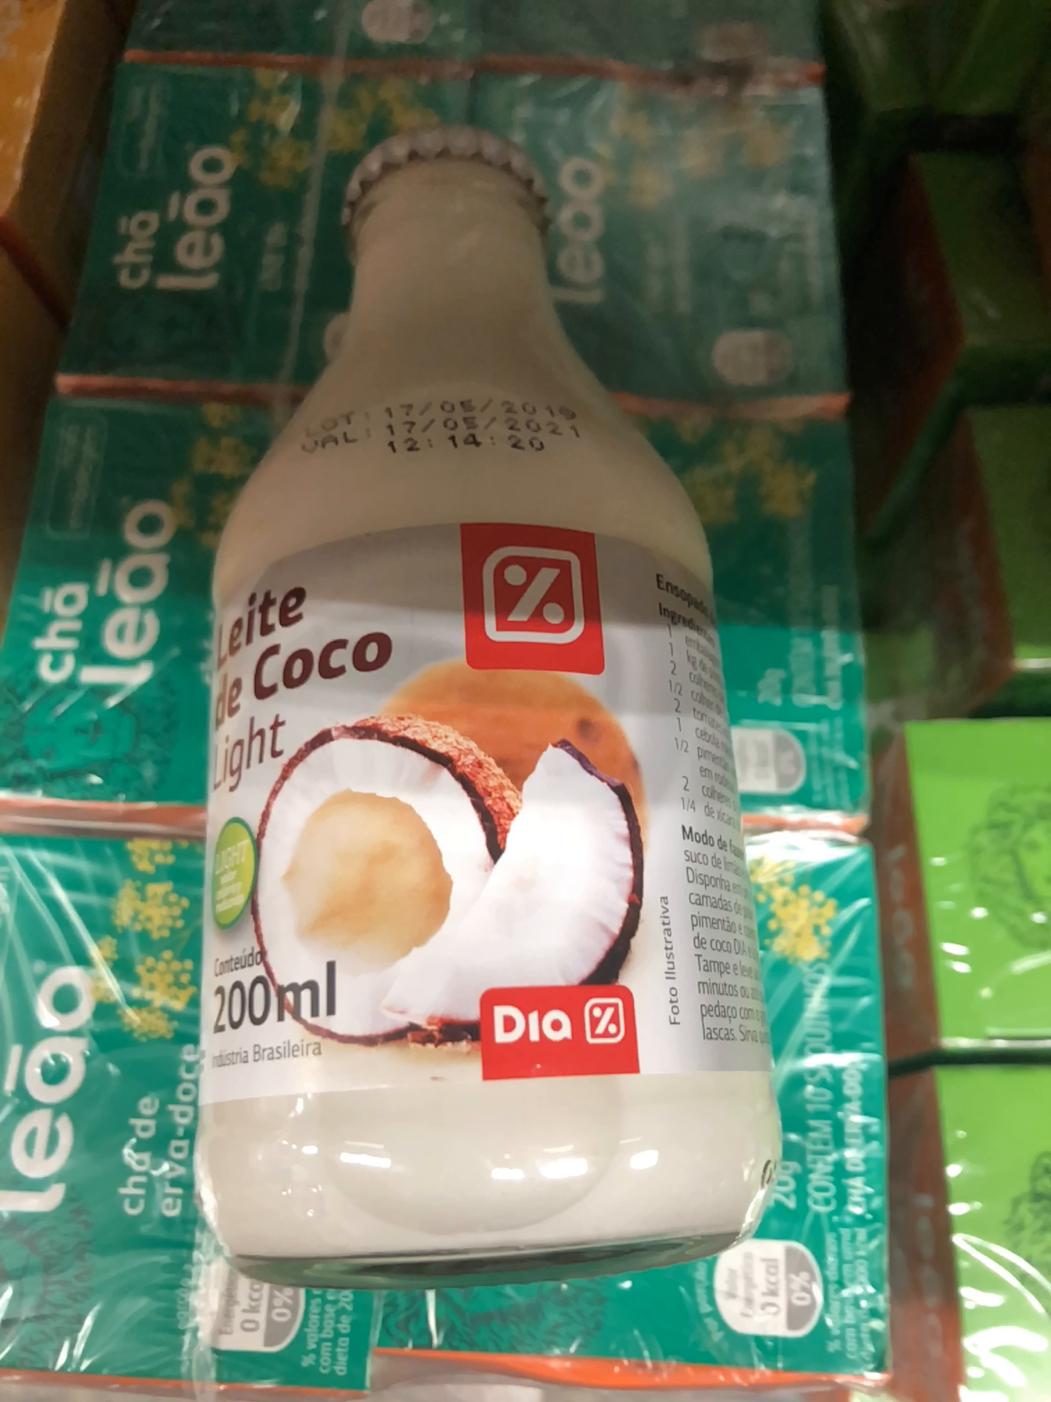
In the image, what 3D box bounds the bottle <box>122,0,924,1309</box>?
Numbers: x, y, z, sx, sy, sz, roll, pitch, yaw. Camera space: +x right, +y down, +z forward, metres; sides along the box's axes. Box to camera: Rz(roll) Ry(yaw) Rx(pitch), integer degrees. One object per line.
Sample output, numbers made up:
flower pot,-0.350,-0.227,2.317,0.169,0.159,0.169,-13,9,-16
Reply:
bottle,-0.003,-0.015,0.156,0.070,0.050,0.160,-2,69,-1
